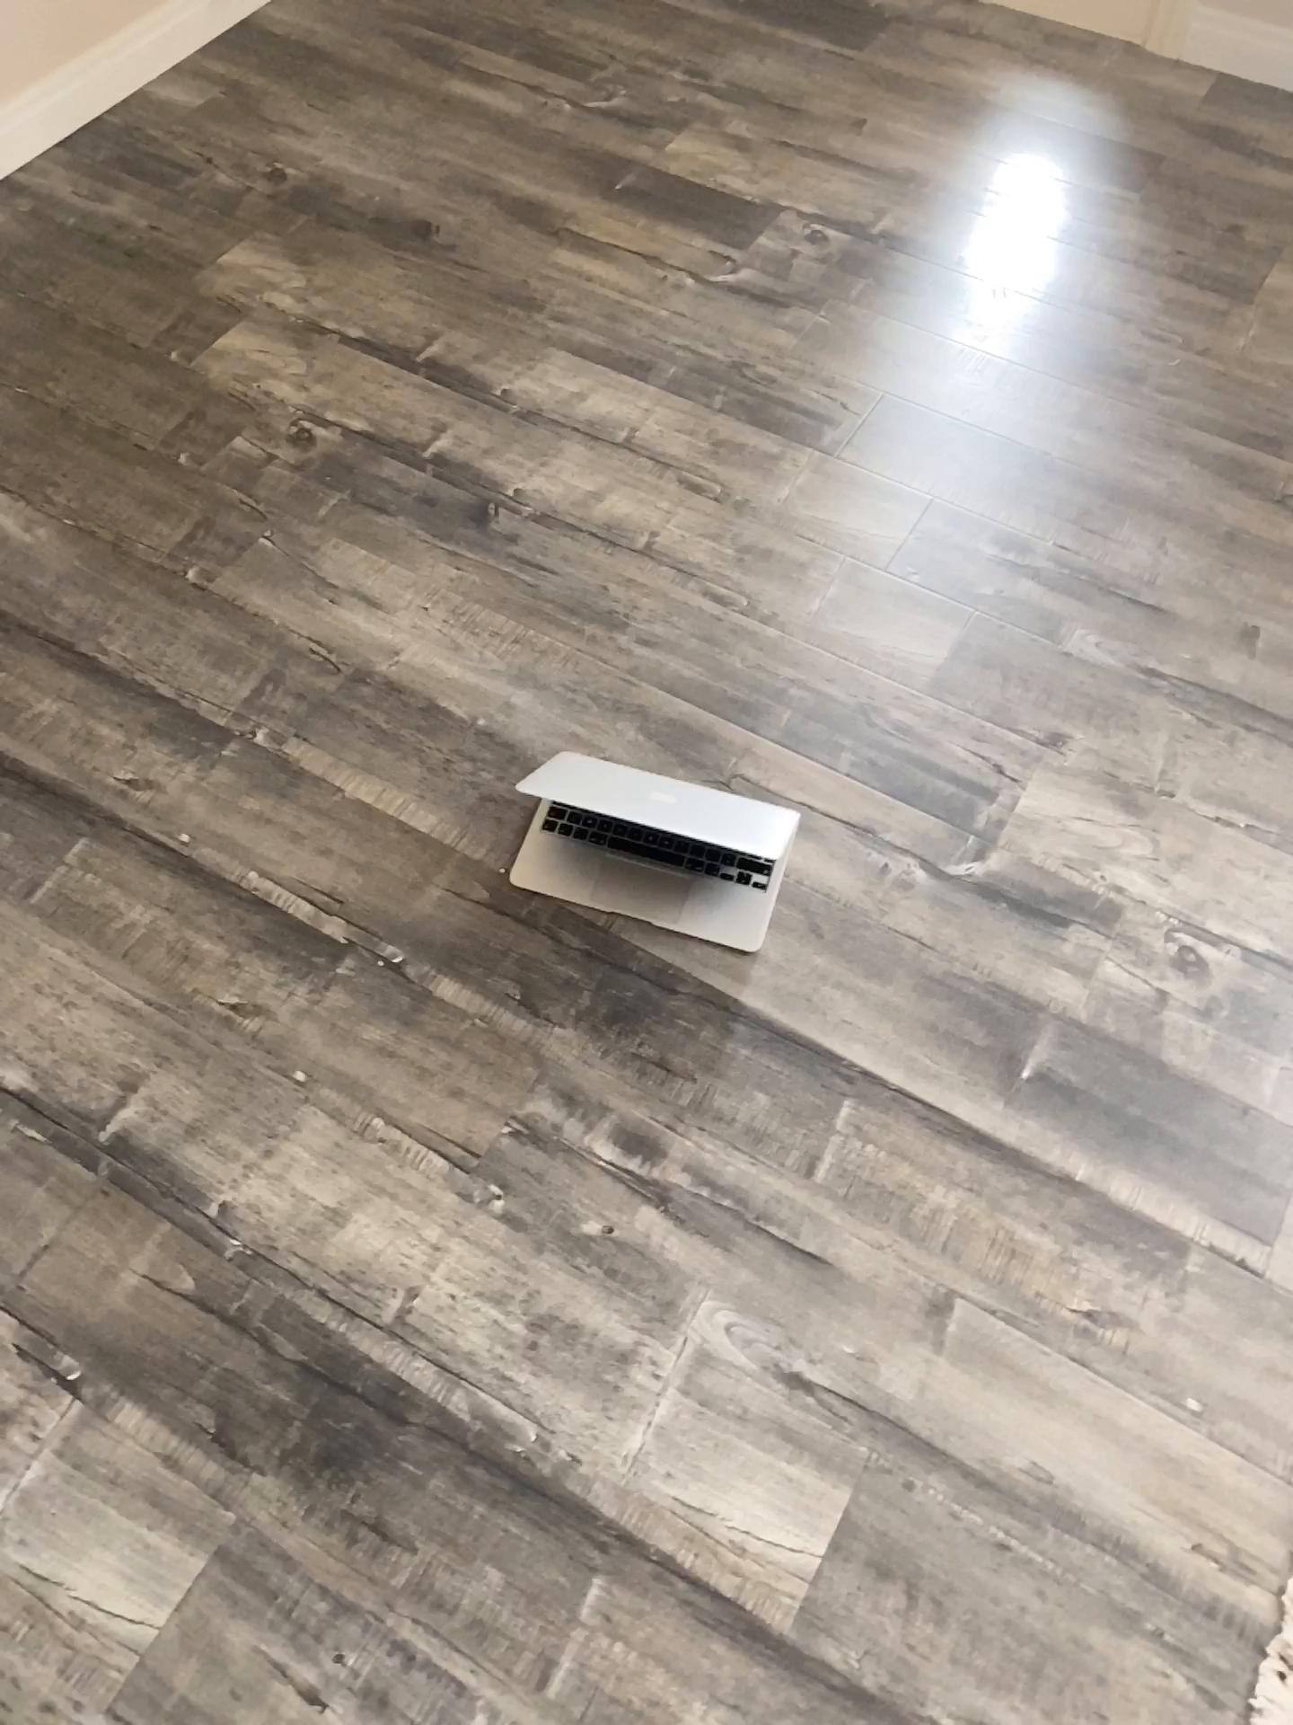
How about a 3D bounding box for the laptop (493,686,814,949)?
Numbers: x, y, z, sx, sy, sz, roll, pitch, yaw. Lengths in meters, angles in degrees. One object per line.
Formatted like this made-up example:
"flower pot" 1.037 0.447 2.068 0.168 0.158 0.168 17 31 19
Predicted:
"laptop" 0.010 -0.048 1.332 0.270 0.113 0.173 16 57 8
